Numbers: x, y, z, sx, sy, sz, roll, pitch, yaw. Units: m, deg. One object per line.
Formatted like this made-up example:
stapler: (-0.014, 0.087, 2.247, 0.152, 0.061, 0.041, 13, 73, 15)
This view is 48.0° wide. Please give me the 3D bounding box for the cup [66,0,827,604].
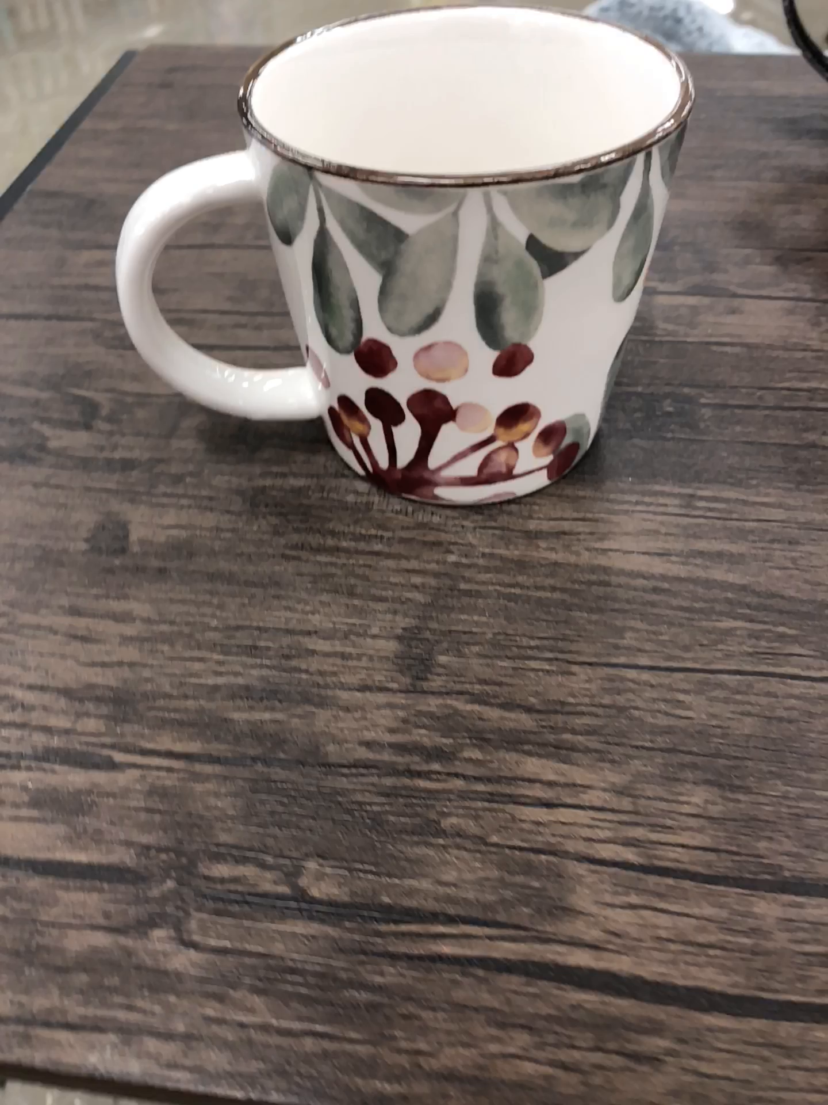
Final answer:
cup: (0.001, -0.075, 0.249, 0.150, 0.110, 0.100, -12, 48, -9)
